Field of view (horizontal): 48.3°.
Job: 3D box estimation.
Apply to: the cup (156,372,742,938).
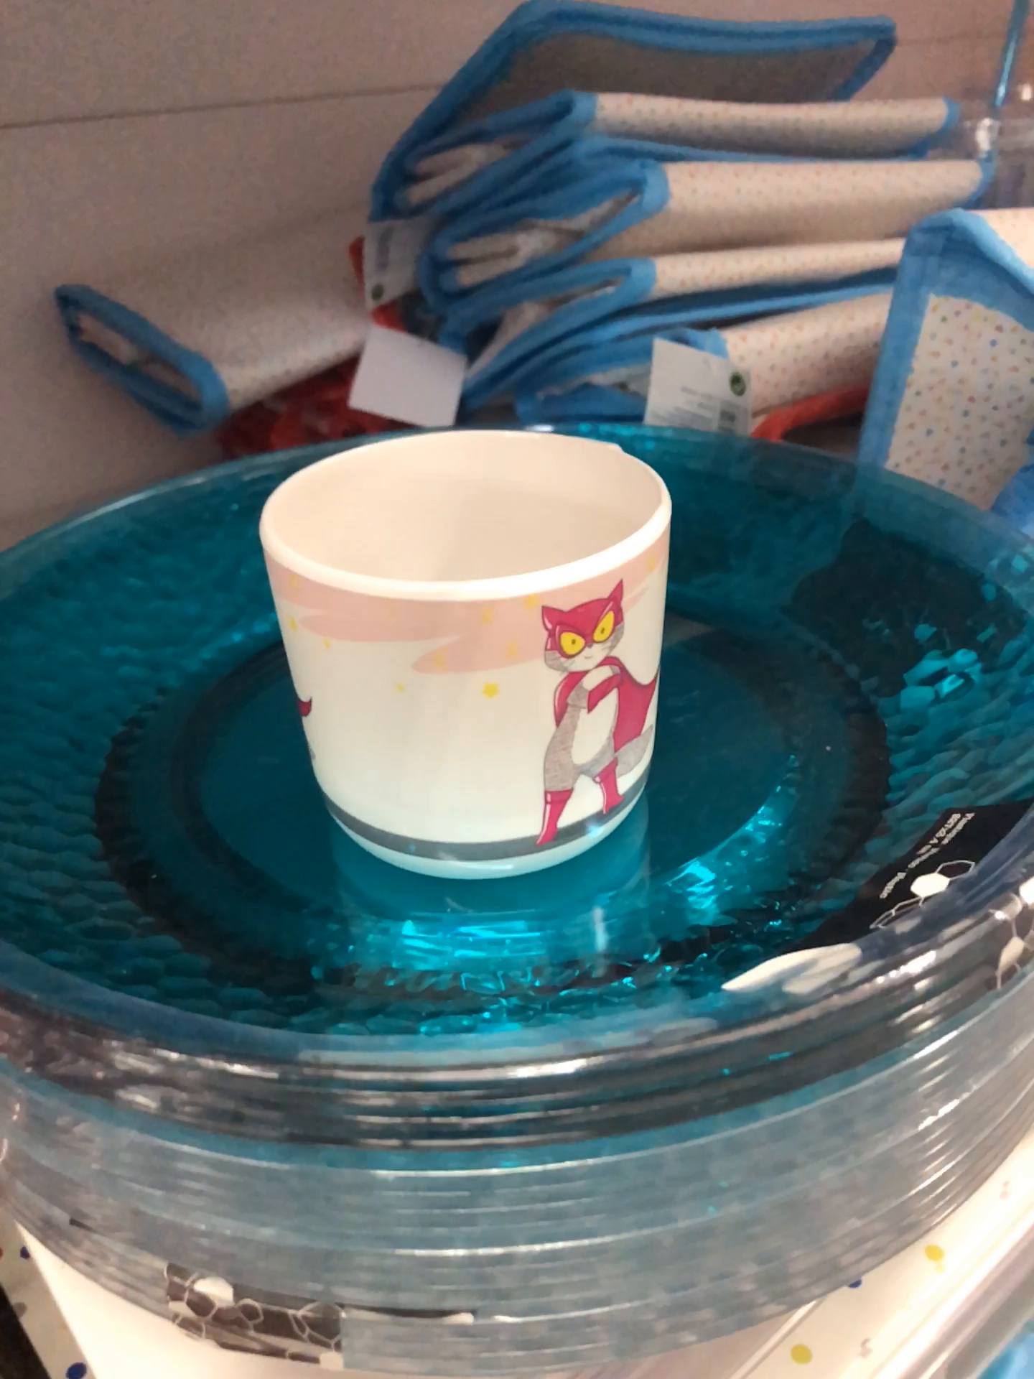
[{"bbox_3d":[-0.004,-0.016,0.233,0.075,0.064,0.103,9,33,19],"label":"cup"}]
